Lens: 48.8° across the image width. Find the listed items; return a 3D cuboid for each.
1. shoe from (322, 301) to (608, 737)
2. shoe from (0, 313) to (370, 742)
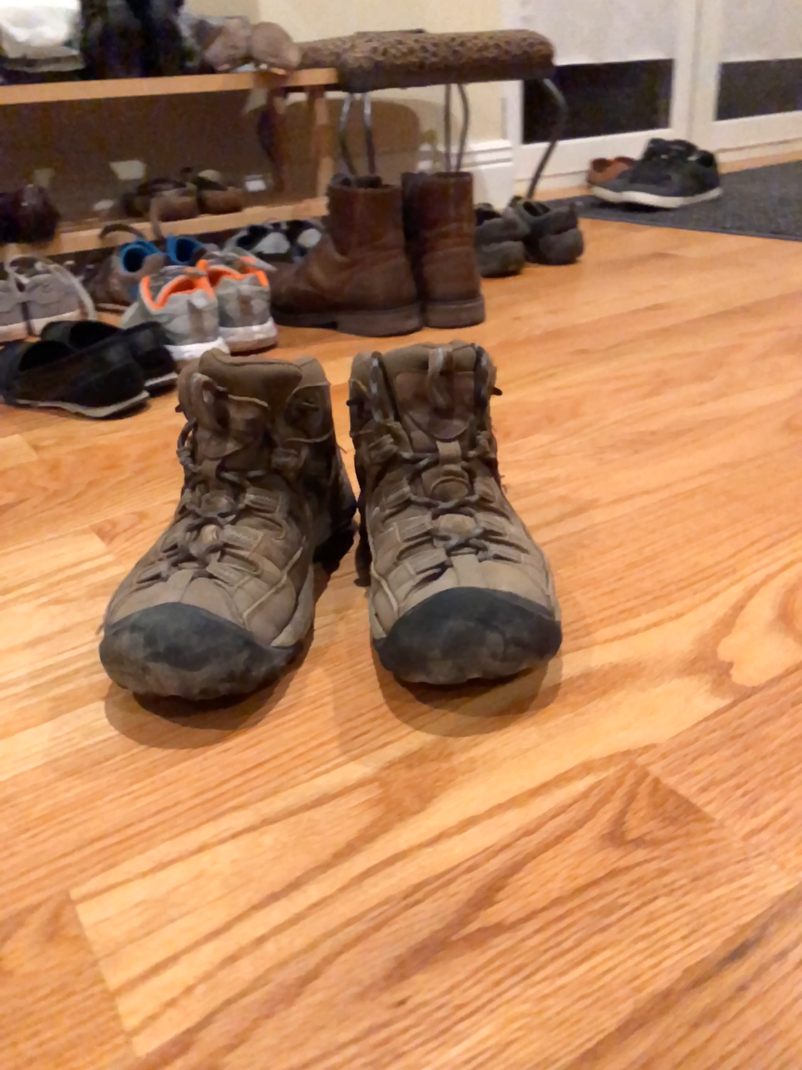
[{"bbox_3d":[0.020,-0.031,0.499,0.107,0.139,0.261,-6,26,-4],"label":"shoe"},{"bbox_3d":[-0.099,-0.025,0.503,0.107,0.139,0.261,1,27,9],"label":"shoe"}]
